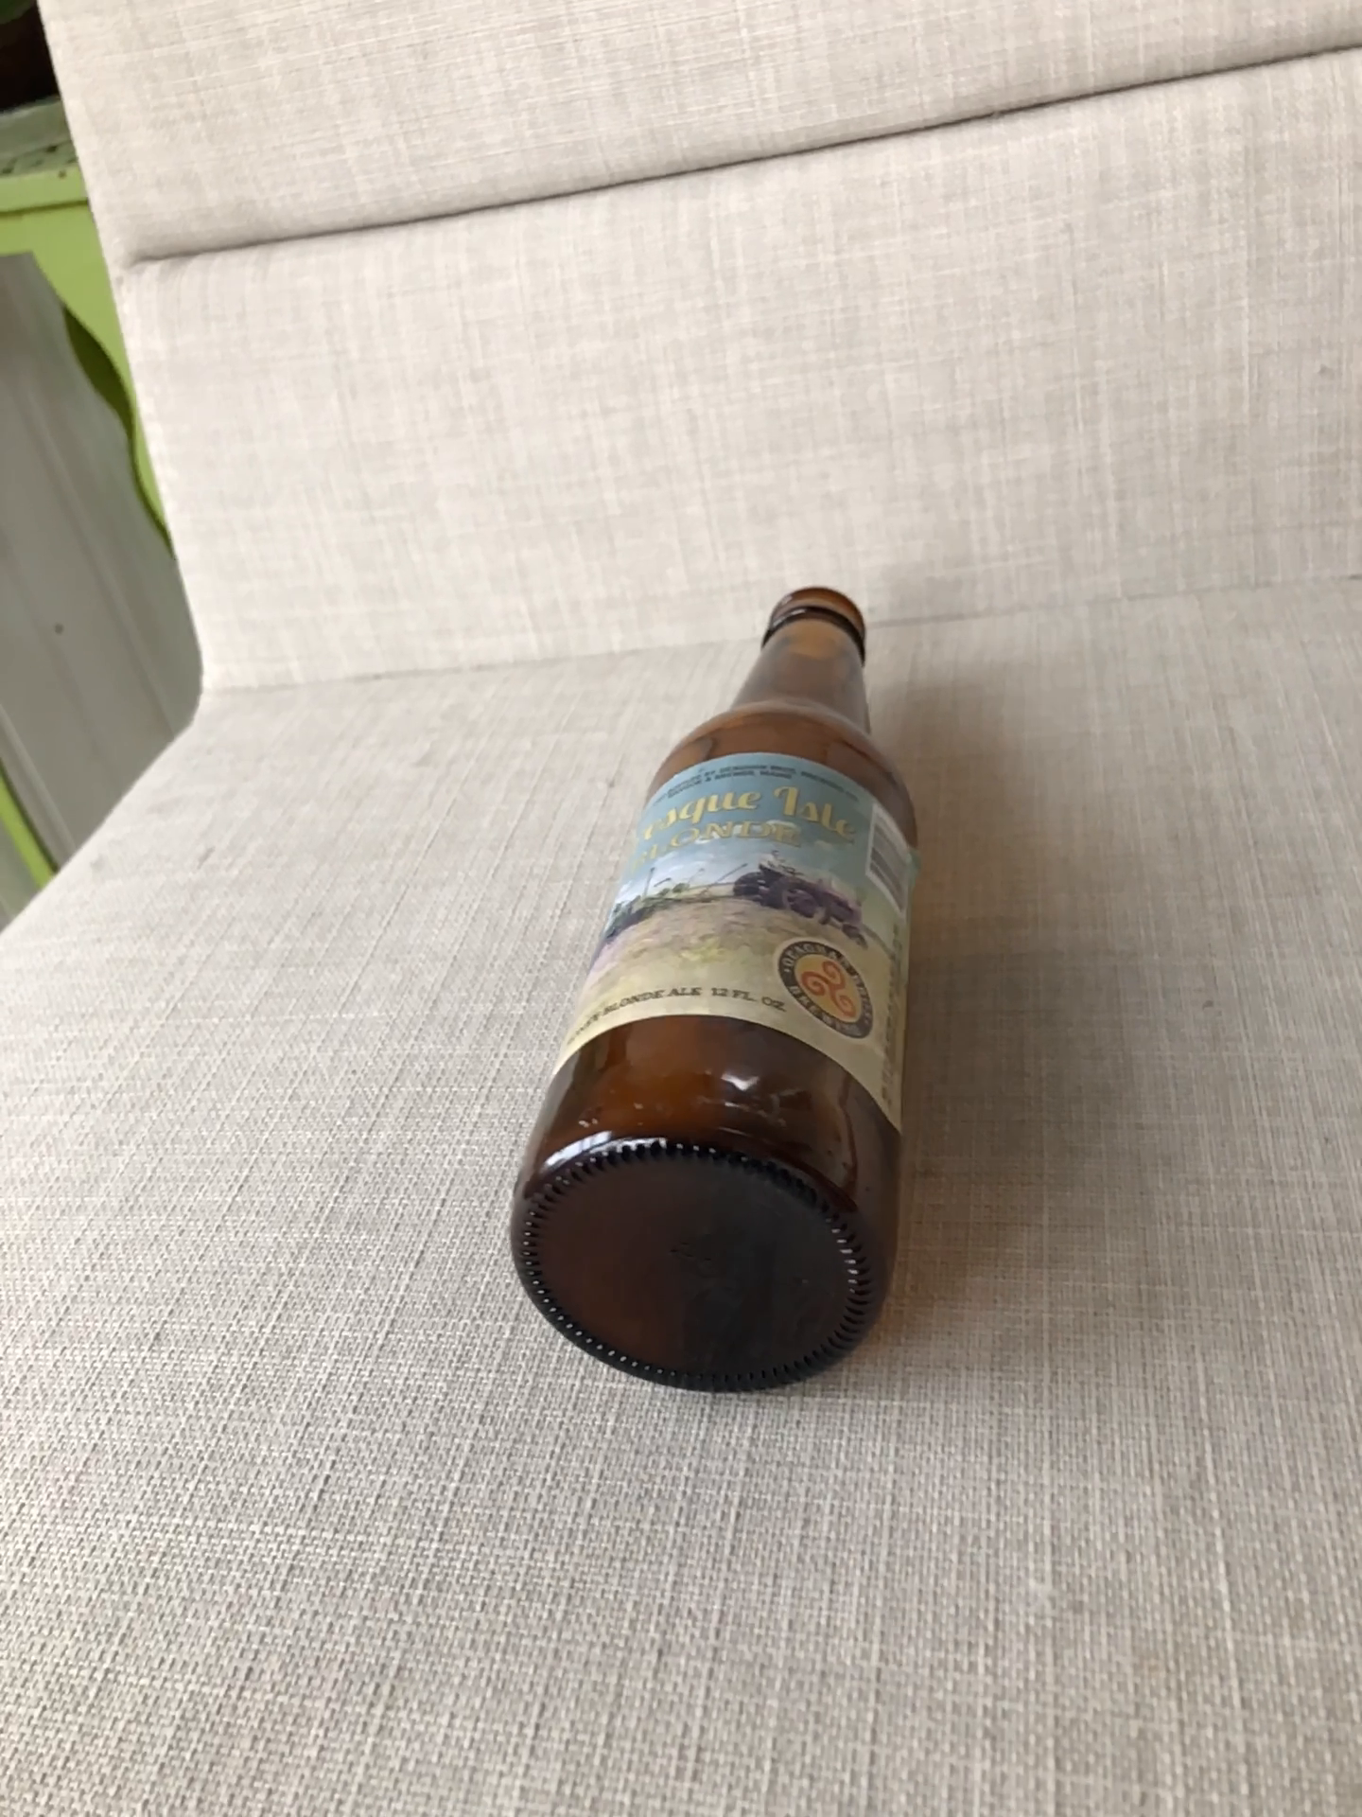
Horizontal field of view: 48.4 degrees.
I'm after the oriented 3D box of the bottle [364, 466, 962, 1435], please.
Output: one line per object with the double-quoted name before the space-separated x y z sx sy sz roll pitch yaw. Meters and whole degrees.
"bottle" 0.015 -0.012 0.314 0.065 0.060 0.232 -14 32 21
